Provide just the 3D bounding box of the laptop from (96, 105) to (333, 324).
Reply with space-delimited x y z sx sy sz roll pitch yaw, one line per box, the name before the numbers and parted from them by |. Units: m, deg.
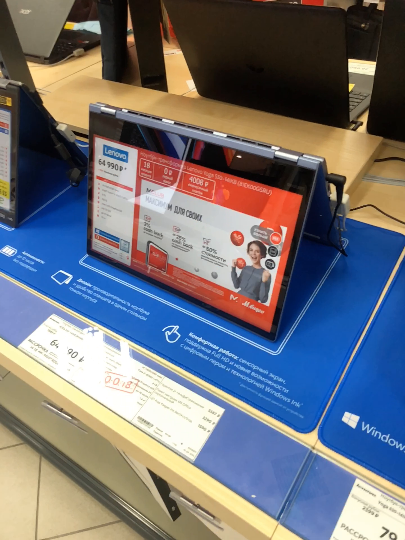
laptop | 0.040 -0.060 0.711 0.306 0.157 0.221 21 14 24
